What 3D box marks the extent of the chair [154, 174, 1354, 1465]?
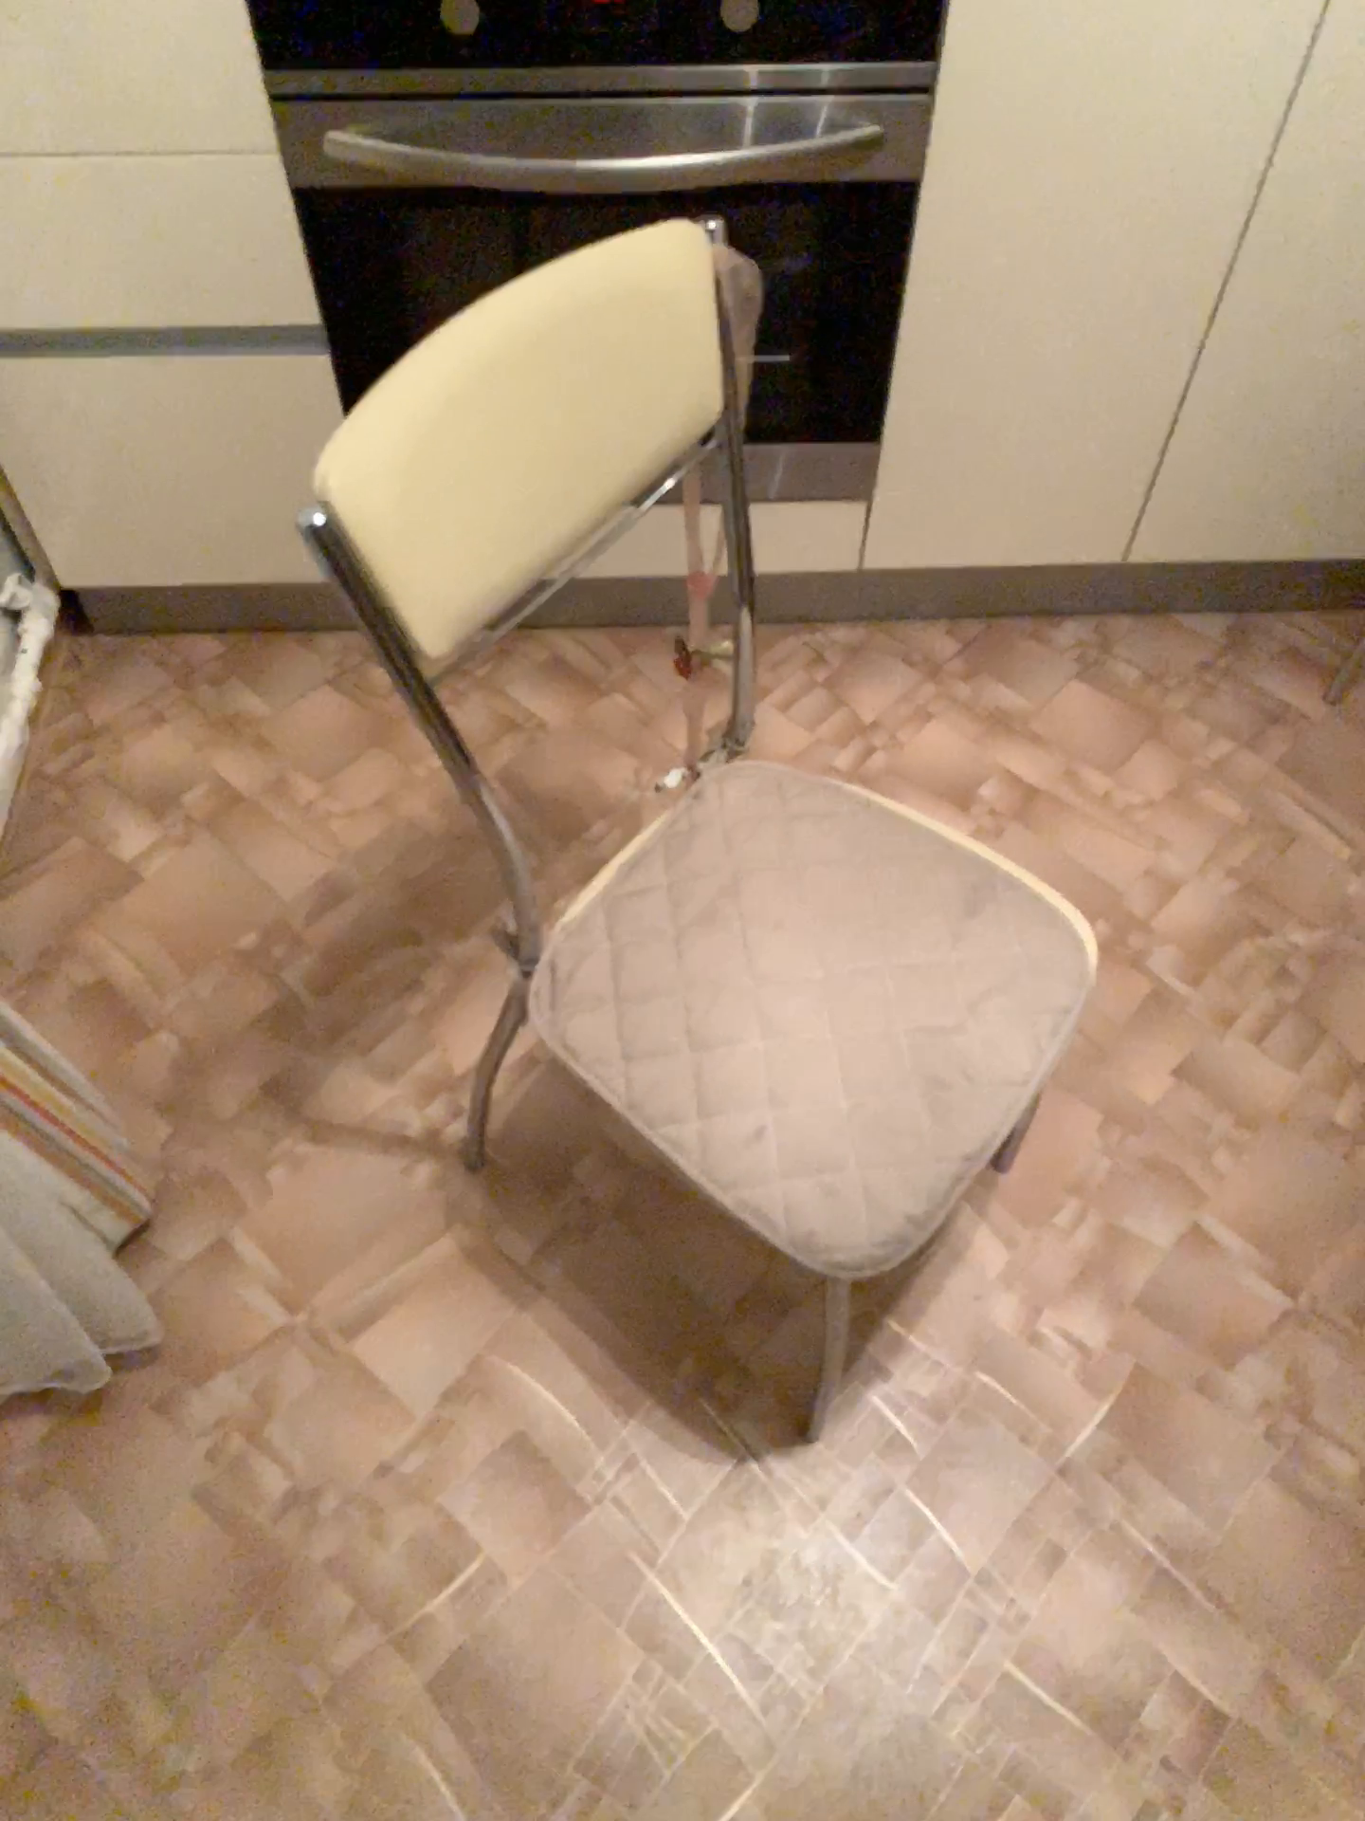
[{"bbox_3d":[0.036,0.017,1.070,0.491,0.854,0.386,33,62,20],"label":"chair"}]
